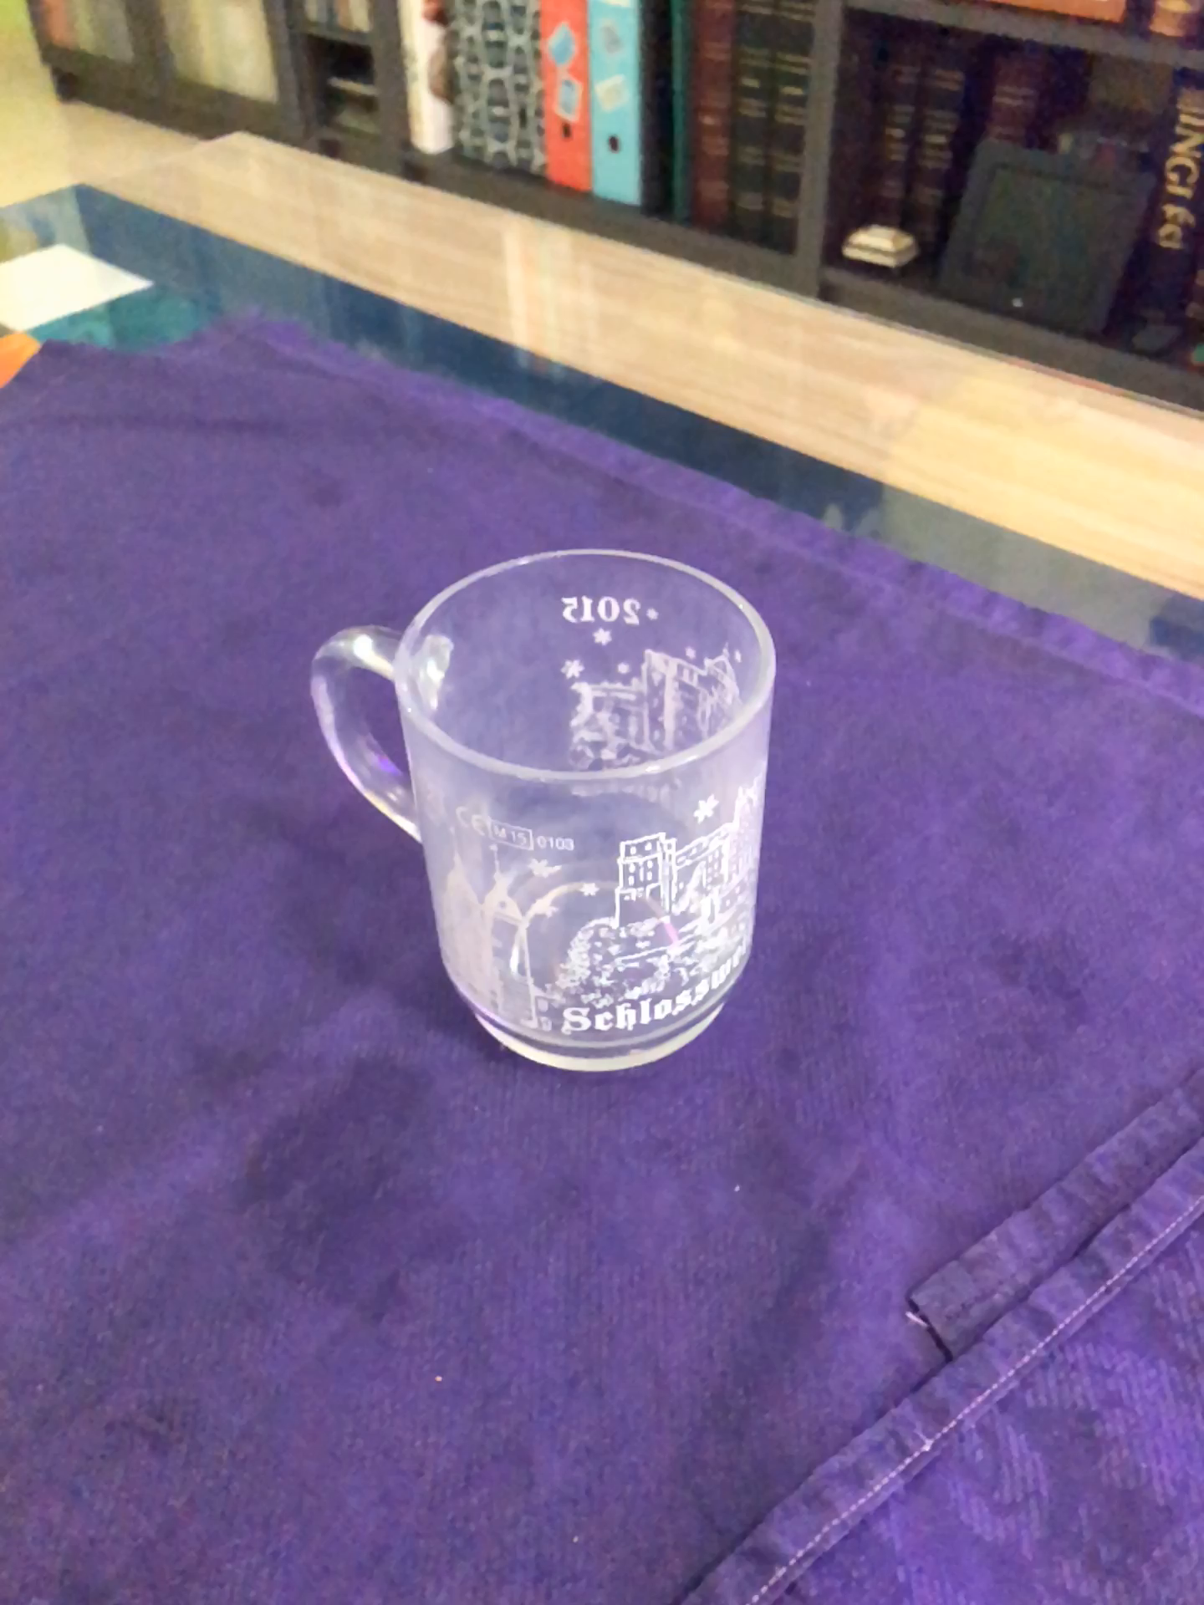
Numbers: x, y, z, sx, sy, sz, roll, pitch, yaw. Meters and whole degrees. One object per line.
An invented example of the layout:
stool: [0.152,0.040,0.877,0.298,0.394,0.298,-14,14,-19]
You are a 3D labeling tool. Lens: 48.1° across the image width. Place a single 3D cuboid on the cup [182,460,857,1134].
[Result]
cup: [-0.014,-0.006,0.270,0.100,0.080,0.070,24,47,26]
